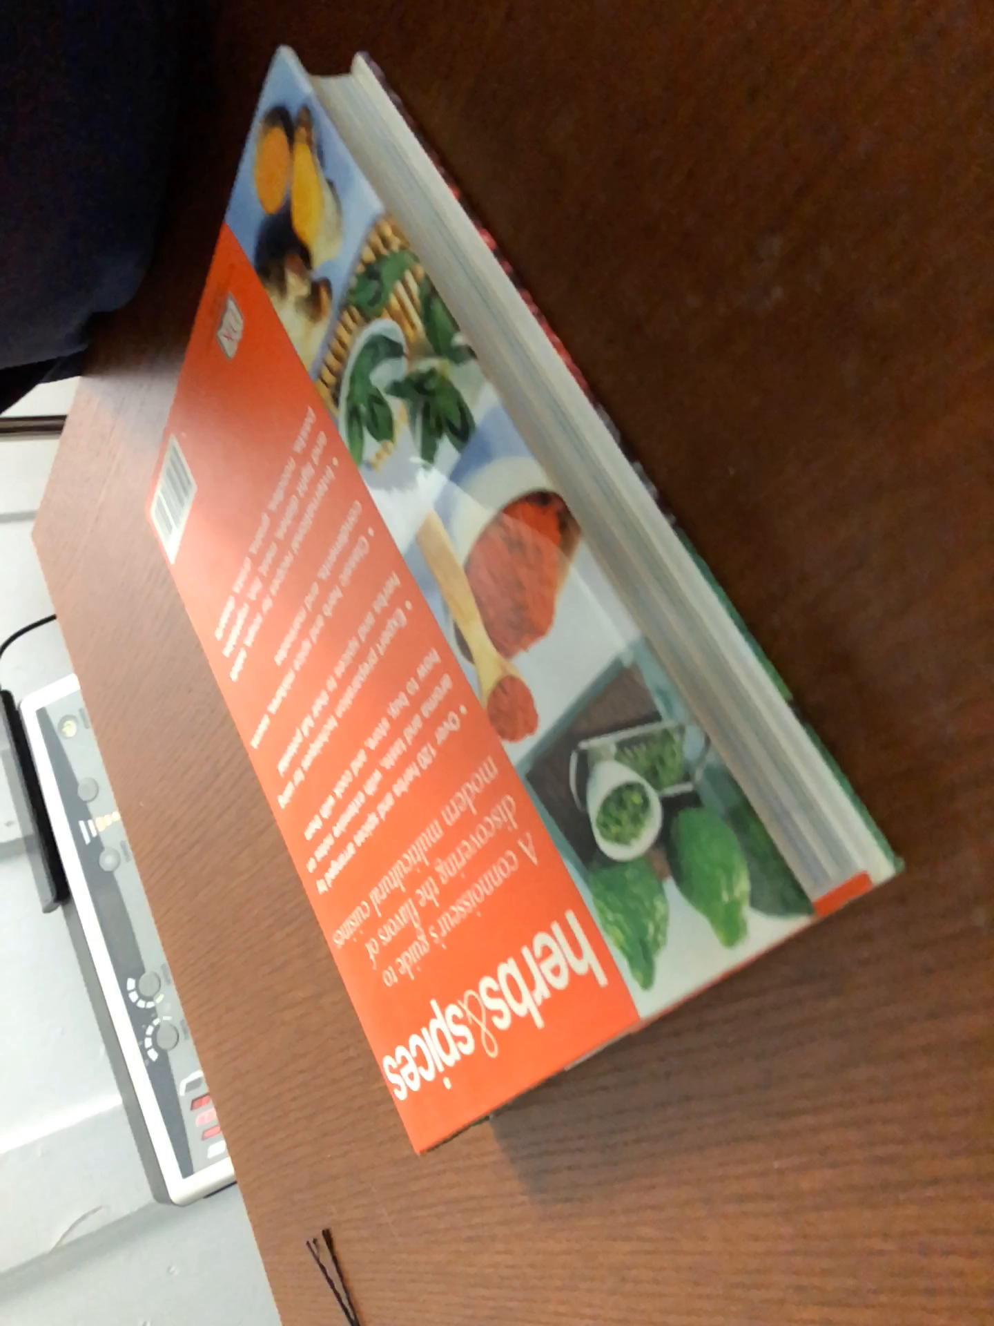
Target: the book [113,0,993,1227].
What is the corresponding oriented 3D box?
[{"bbox_3d":[-0.029,-0.001,0.311,0.270,0.040,0.211,63,141,20],"label":"book"}]
